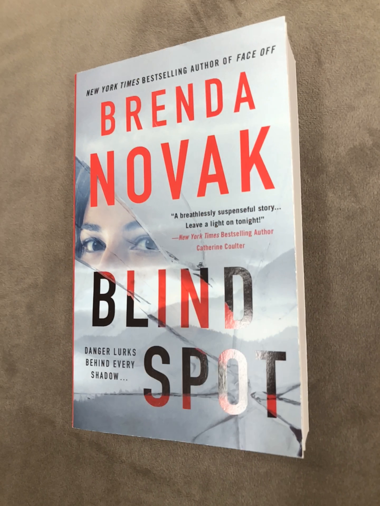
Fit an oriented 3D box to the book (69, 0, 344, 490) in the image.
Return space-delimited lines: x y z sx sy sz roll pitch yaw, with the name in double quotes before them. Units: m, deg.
"book" 0.005 -0.005 0.208 0.120 0.050 0.190 -3 84 27
